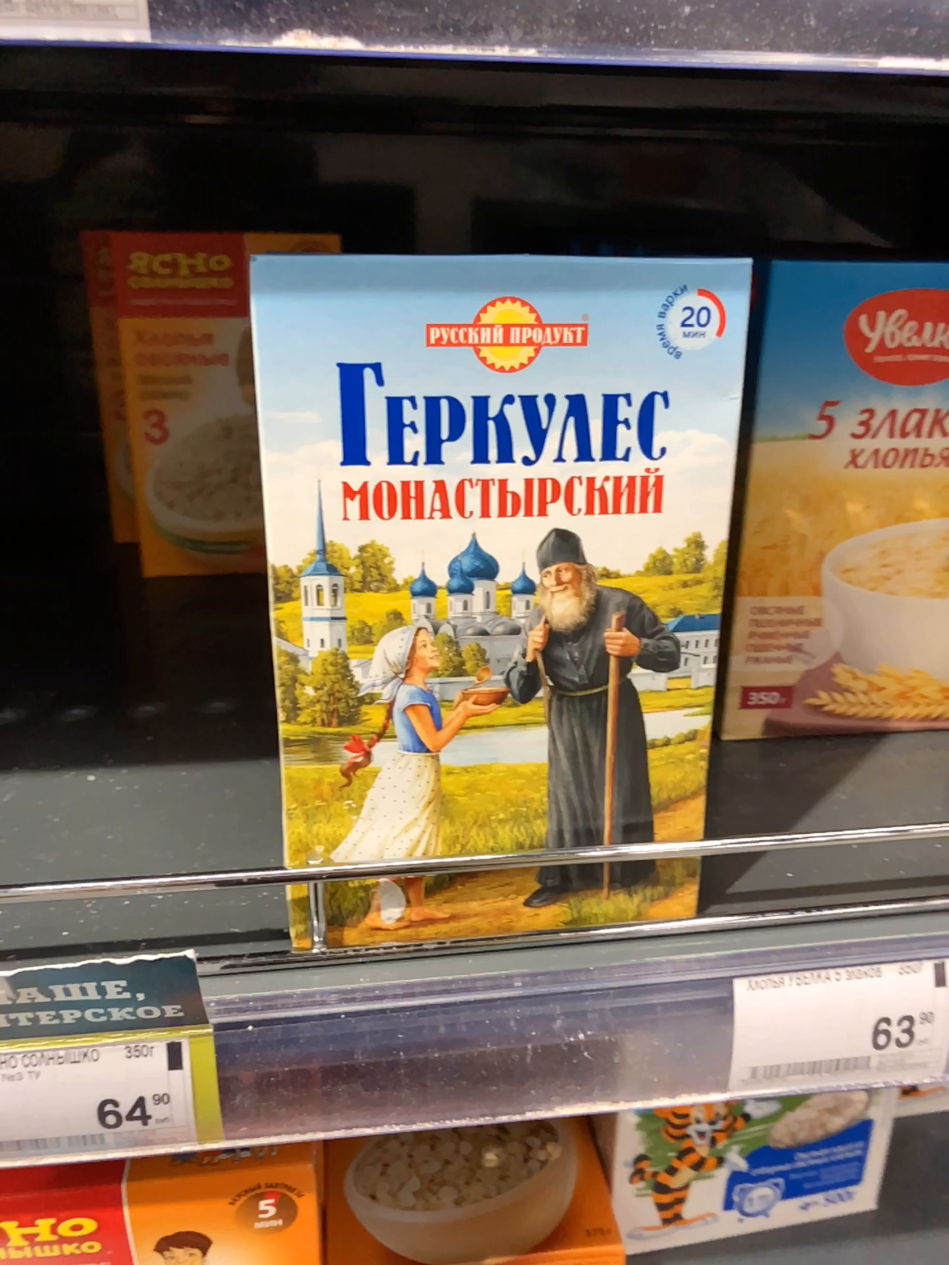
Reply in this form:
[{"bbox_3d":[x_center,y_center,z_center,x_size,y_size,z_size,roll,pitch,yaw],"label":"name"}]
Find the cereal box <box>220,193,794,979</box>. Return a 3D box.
[{"bbox_3d":[0.004,-0.012,0.295,0.130,0.199,0.060,-2,19,-9],"label":"cereal box"}]
